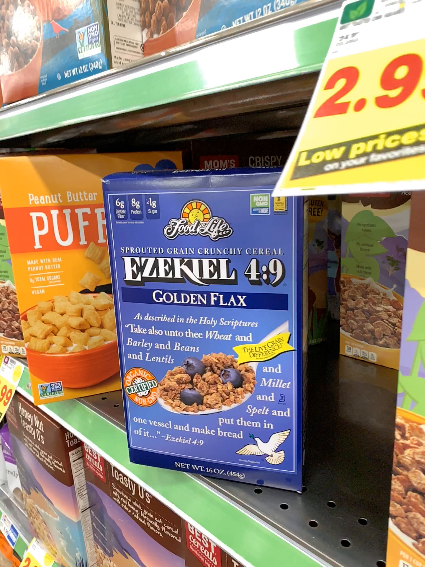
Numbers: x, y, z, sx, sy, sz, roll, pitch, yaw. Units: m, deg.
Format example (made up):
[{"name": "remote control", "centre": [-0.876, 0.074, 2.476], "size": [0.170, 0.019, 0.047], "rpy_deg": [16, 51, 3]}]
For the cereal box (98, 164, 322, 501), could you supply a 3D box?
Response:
[{"name": "cereal box", "centre": [0.005, 0.036, 0.361], "size": [0.160, 0.249, 0.060], "rpy_deg": [2, 13, 18]}]
